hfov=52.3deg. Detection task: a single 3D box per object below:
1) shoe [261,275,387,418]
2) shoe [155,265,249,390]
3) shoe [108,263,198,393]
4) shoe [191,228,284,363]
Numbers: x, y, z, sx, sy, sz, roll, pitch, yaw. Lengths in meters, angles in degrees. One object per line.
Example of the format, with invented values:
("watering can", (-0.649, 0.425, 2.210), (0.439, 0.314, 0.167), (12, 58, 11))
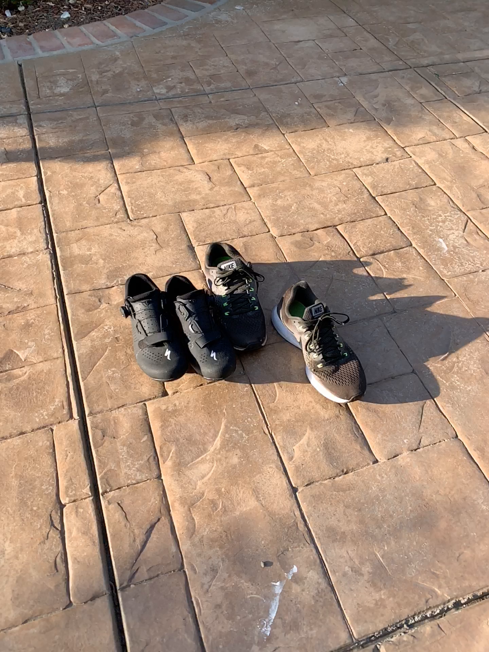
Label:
("shoe", (0.150, 0.031, 1.014), (0.120, 0.070, 0.291), (-17, 52, -16))
("shoe", (-0.084, -0.004, 0.949), (0.100, 0.070, 0.231), (-17, 52, -16))
("shoe", (-0.185, -0.004, 0.992), (0.100, 0.070, 0.261), (-17, 52, -16))
("shoe", (-0.022, -0.071, 1.029), (0.100, 0.090, 0.281), (-14, 51, -13))
